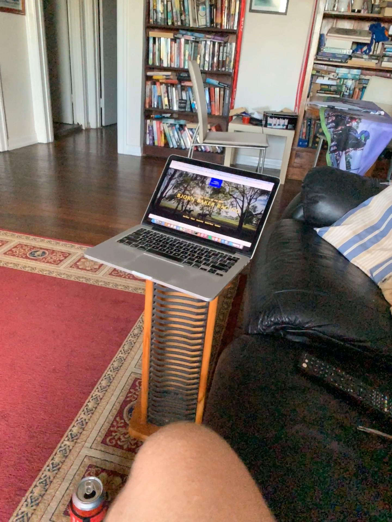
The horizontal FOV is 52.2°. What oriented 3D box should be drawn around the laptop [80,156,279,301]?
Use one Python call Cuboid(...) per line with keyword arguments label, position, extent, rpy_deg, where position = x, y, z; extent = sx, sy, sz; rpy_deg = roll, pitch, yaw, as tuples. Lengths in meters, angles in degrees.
Cuboid(label="laptop", position=(-0.023, -0.104, 0.910), extent=(0.313, 0.161, 0.341), rpy_deg=(18, 29, 23))
